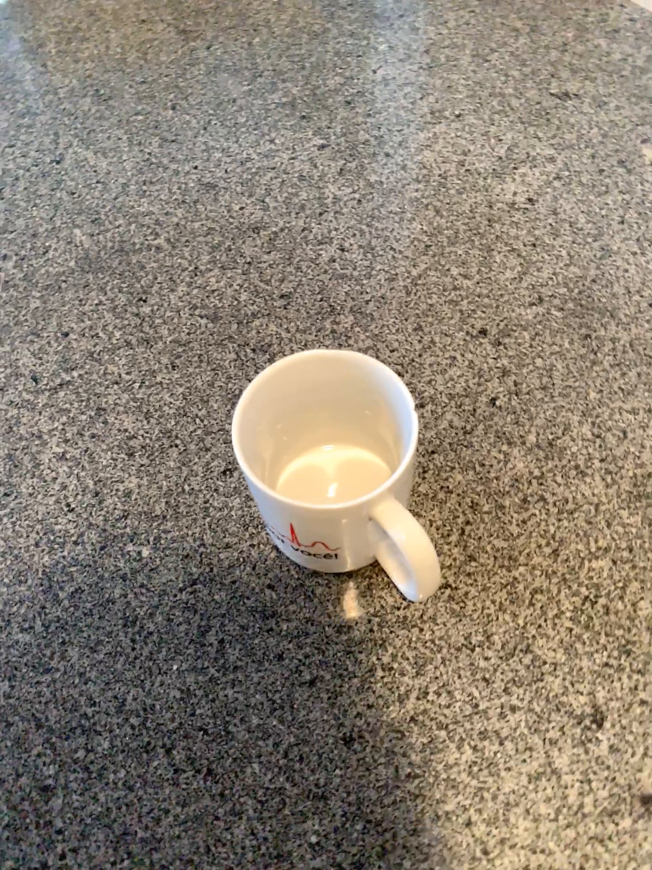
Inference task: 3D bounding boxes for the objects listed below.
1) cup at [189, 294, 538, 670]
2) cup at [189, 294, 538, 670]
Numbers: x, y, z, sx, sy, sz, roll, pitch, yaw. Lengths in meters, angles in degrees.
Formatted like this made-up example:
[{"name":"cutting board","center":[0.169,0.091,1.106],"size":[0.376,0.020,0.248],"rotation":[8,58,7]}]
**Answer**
[{"name":"cup","center":[0.015,0.024,0.318],"size":[0.090,0.100,0.120],"rotation":[-32,63,-13]},{"name":"cup","center":[0.015,0.024,0.318],"size":[0.090,0.100,0.120],"rotation":[-32,63,-13]}]
